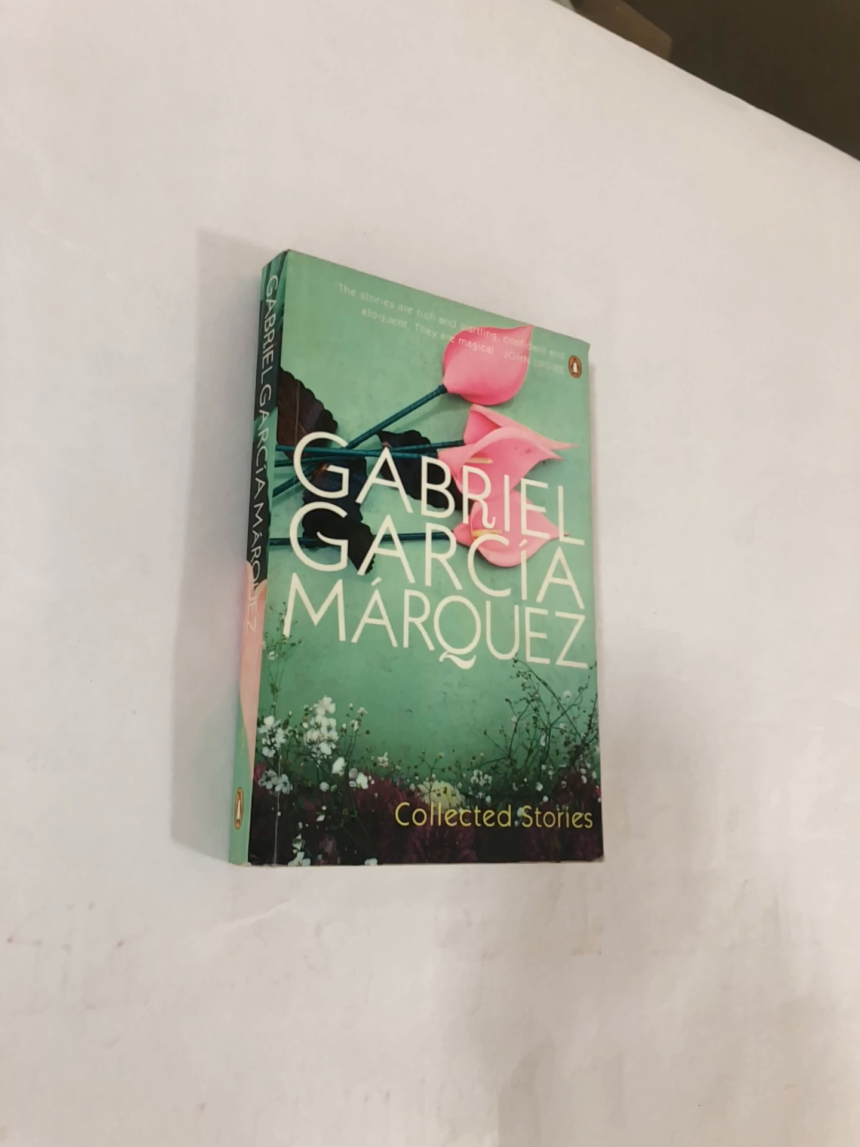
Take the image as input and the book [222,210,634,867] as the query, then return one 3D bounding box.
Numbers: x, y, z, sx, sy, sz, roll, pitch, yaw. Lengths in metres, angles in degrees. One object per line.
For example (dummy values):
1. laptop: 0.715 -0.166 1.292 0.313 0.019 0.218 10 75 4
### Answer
1. book: 0.004 -0.007 0.323 0.130 0.030 0.200 8 73 -29
